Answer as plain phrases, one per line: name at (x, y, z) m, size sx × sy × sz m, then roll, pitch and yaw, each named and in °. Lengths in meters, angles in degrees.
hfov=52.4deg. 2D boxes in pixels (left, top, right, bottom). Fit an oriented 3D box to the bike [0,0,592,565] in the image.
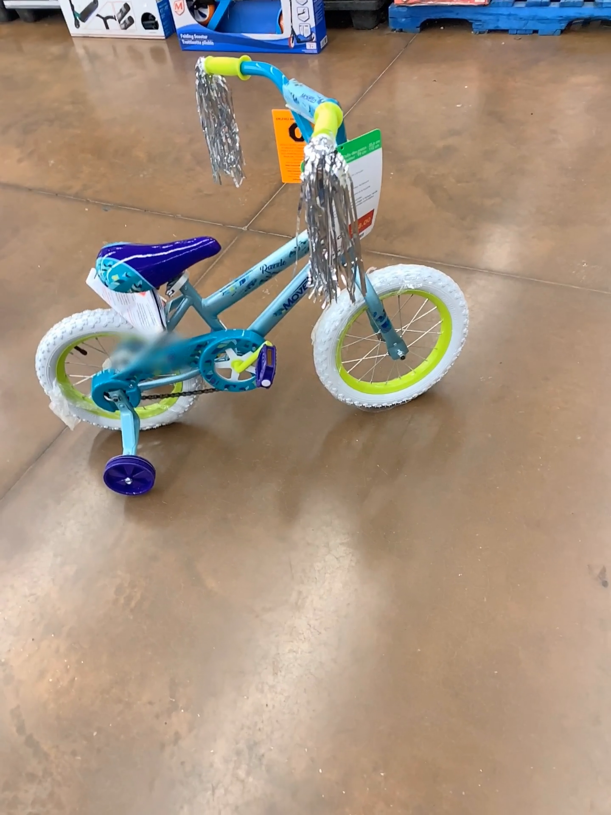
bike at (-0.123, -0.225, 1.125) m, size 0.859 × 0.638 × 0.626 m, roll -11°, pitch 47°, yaw -2°
